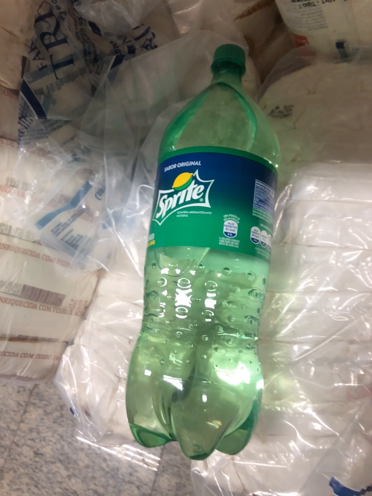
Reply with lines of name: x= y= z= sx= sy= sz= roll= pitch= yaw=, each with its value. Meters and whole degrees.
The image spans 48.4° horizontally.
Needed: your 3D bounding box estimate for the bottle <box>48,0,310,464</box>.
bottle: x=0.021 y=-0.047 z=0.341 sx=0.110 sy=0.109 sz=0.381 roll=-1 pitch=66 yaw=29
